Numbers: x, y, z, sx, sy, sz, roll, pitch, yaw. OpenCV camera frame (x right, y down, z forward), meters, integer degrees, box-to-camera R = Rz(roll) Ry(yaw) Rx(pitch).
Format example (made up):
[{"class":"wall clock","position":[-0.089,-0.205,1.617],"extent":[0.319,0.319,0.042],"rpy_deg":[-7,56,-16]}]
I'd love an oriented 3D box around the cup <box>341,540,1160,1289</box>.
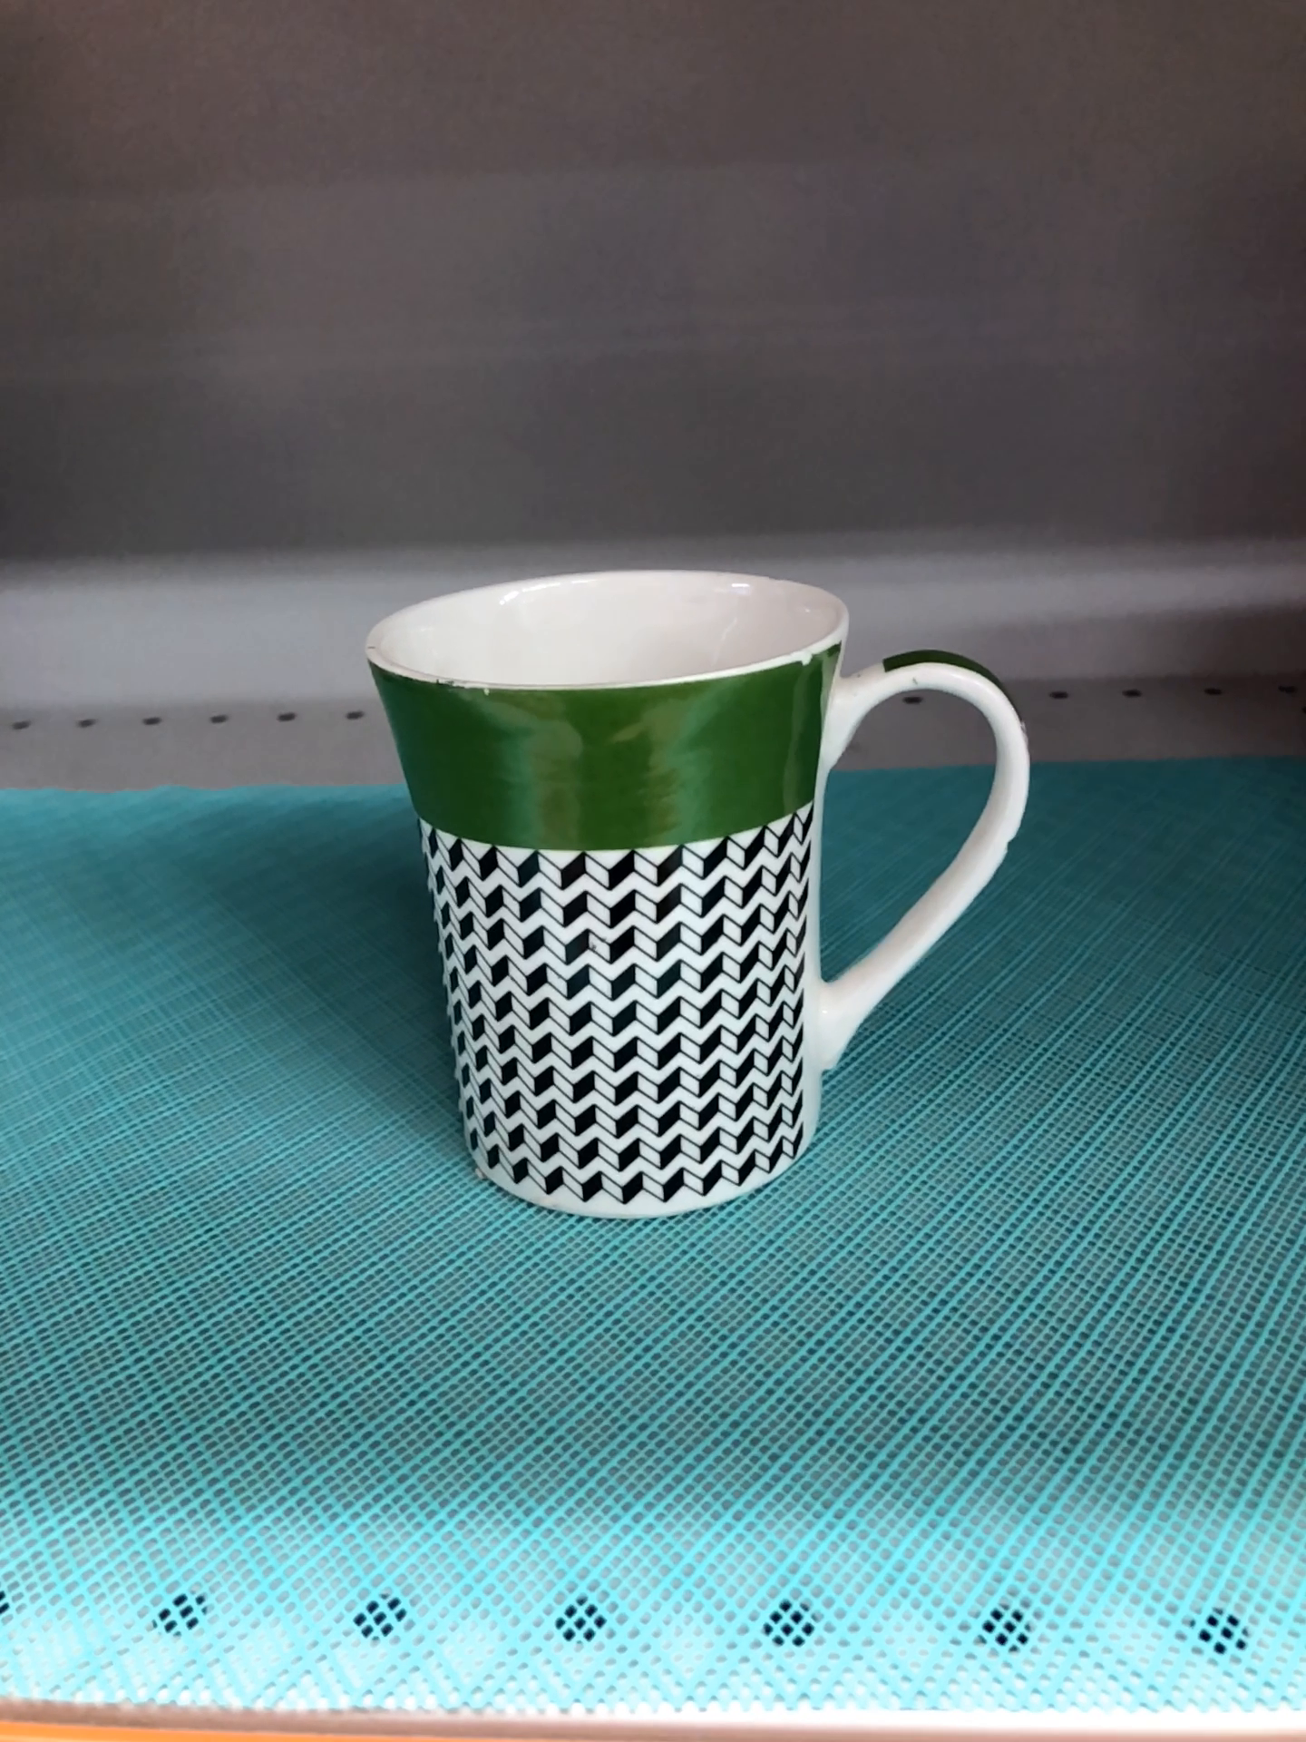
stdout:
[{"class":"cup","position":[0.014,0.002,0.251],"extent":[0.110,0.099,0.080],"rpy_deg":[-2,22,-1]}]
